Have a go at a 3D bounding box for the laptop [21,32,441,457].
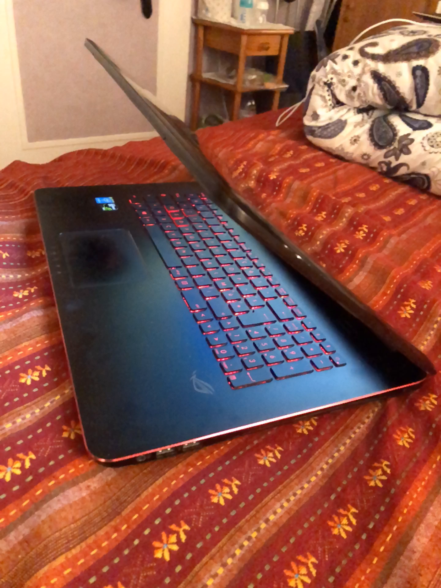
[{"bbox_3d":[-0.018,-0.101,0.447,0.268,0.168,0.400,-7,37,-21],"label":"laptop"}]
